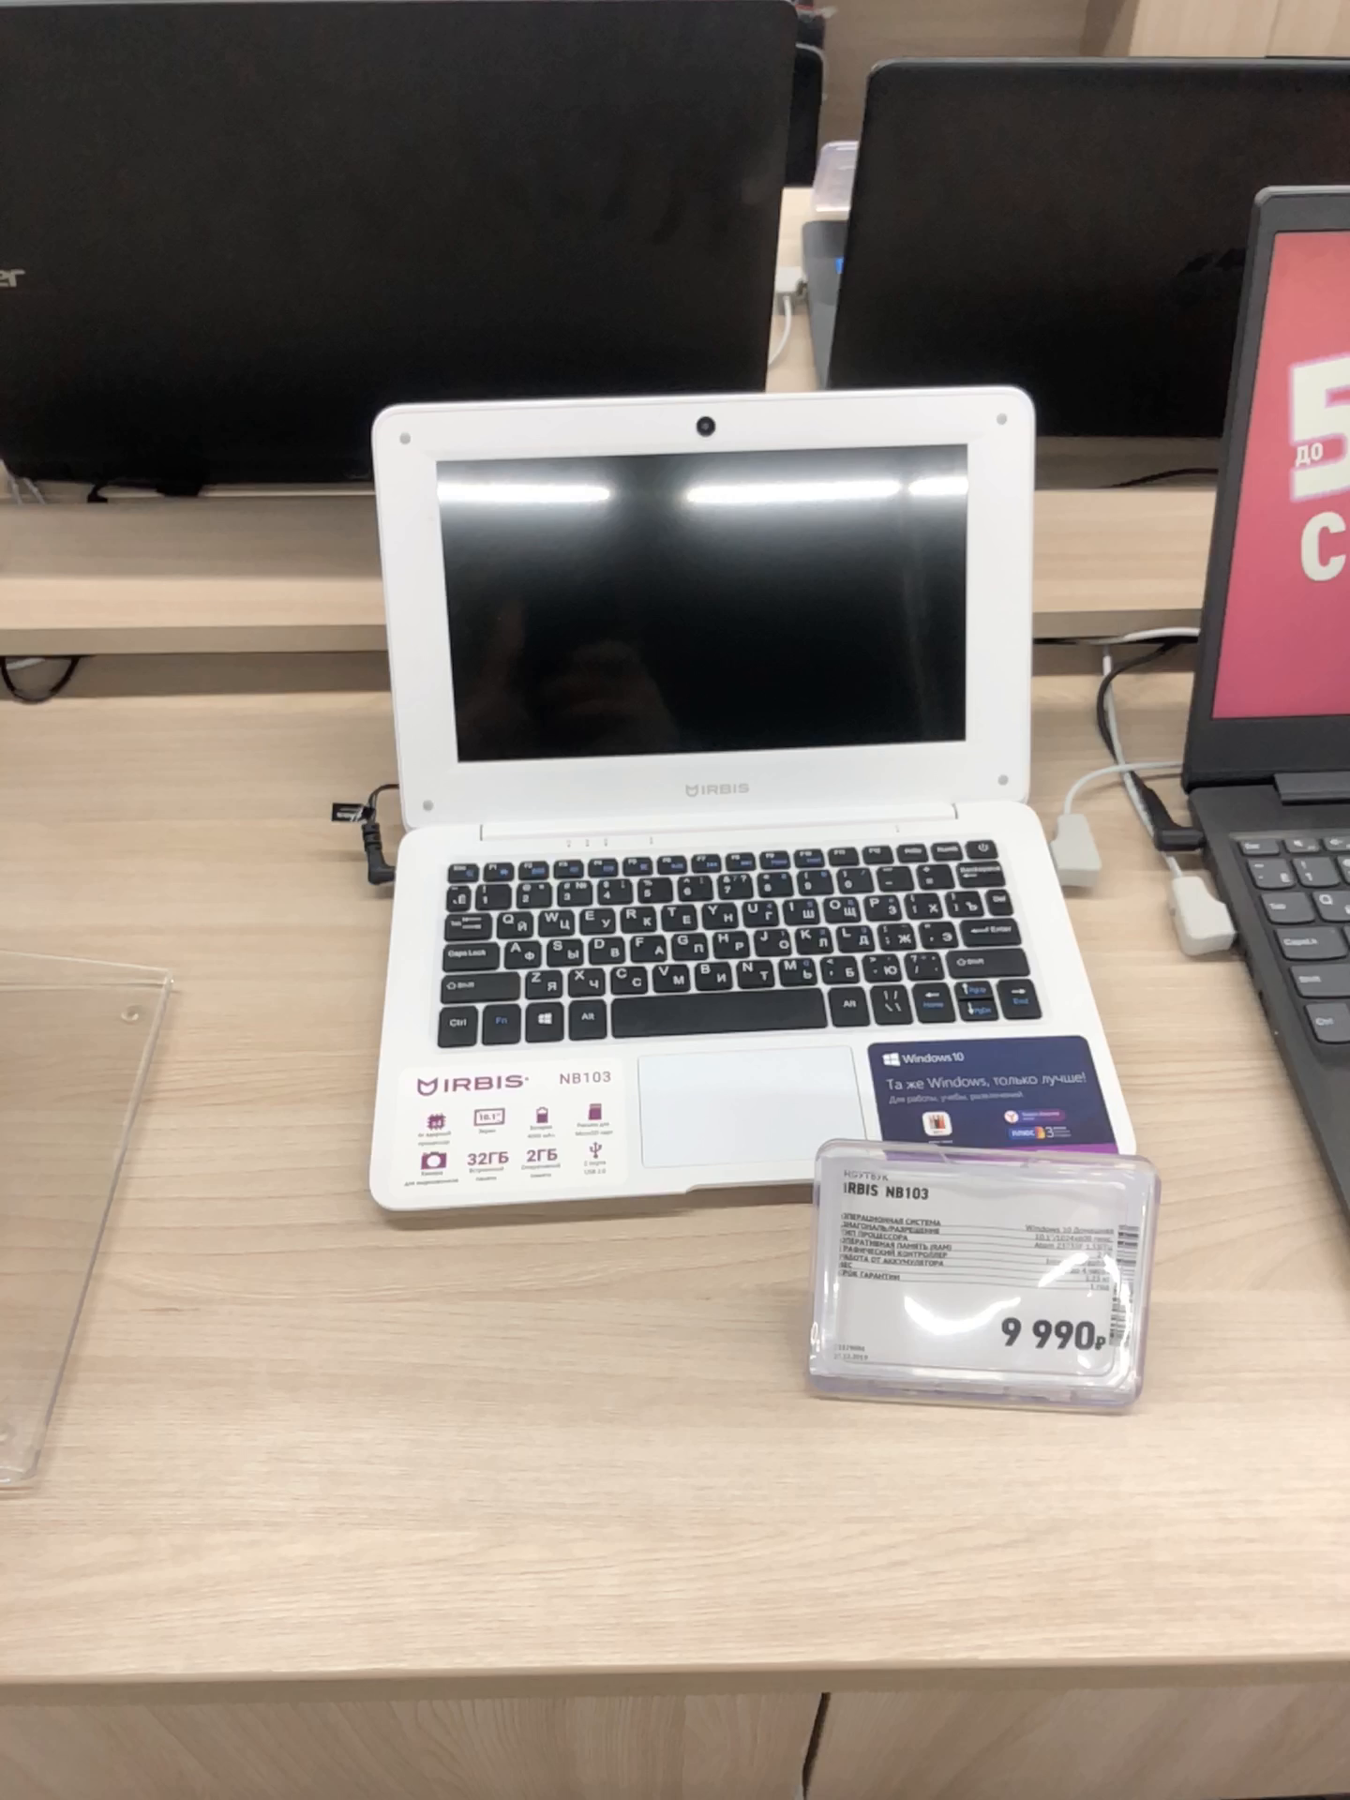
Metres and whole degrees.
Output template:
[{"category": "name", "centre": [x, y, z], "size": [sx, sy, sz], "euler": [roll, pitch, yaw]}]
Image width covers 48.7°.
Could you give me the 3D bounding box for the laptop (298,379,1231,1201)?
[{"category": "laptop", "centre": [0.022, -0.061, 0.627], "size": [0.296, 0.144, 0.319], "euler": [-2, 49, -2]}]
